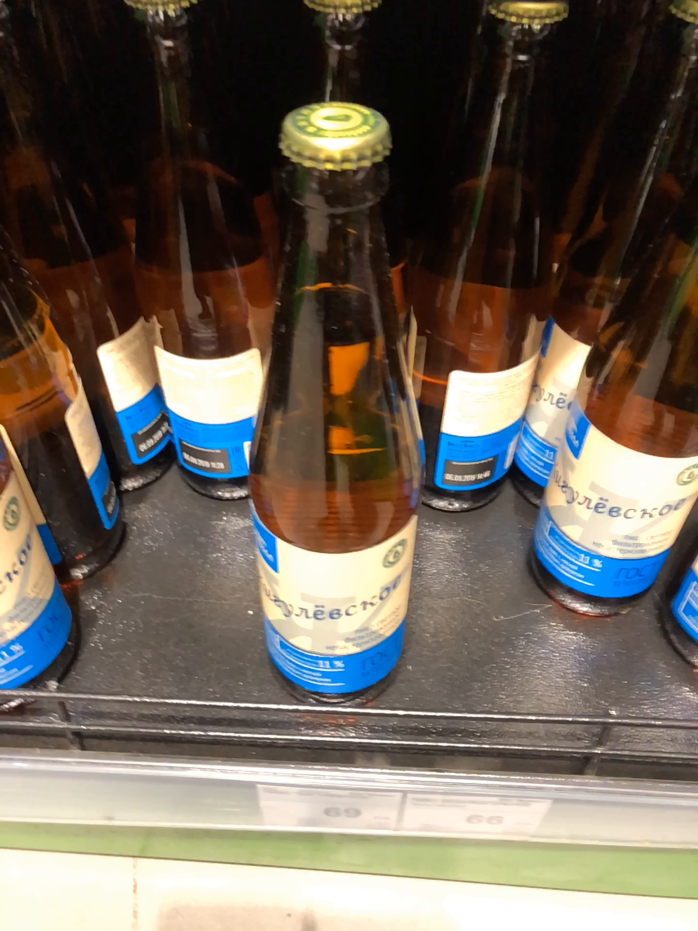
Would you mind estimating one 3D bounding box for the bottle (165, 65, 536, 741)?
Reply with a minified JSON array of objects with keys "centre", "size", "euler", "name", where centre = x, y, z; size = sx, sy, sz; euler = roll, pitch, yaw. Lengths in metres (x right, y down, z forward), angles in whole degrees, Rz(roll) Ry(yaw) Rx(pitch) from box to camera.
[{"centre":[0.002,0.004,0.282],"size":[0.070,0.249,0.070],"euler":[1,47,-1],"name":"bottle"}]
